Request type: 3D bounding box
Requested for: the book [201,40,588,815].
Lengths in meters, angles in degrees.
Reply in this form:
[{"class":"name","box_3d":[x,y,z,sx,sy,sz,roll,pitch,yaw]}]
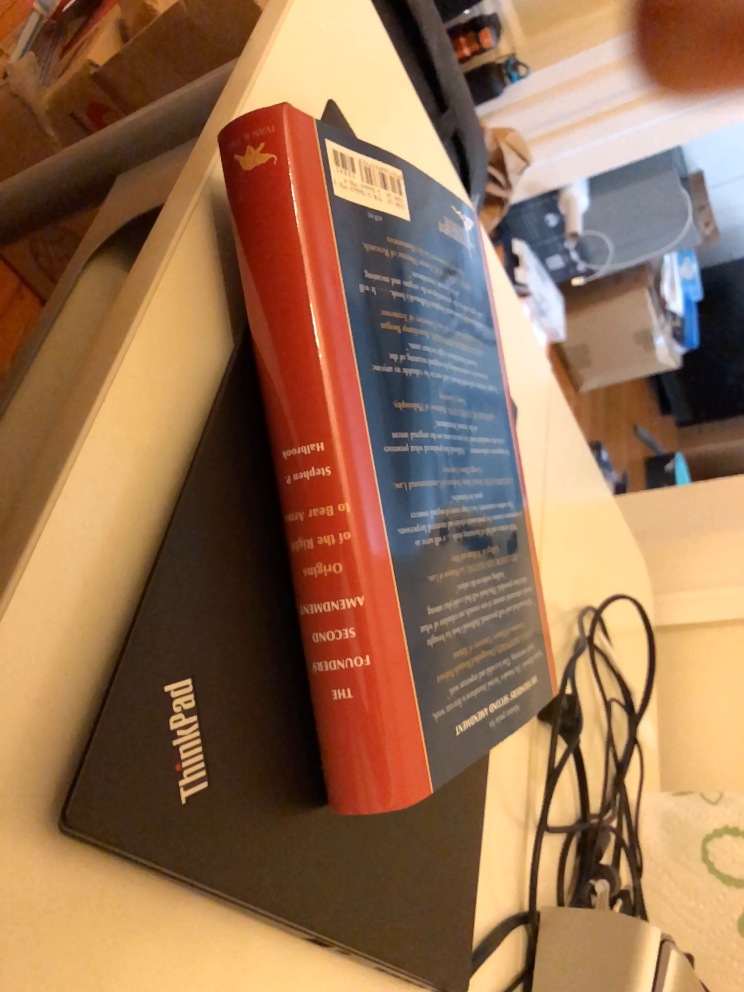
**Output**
[{"class":"book","box_3d":[0.022,-0.023,0.335,0.171,0.040,0.240,-2,79,-62]}]
